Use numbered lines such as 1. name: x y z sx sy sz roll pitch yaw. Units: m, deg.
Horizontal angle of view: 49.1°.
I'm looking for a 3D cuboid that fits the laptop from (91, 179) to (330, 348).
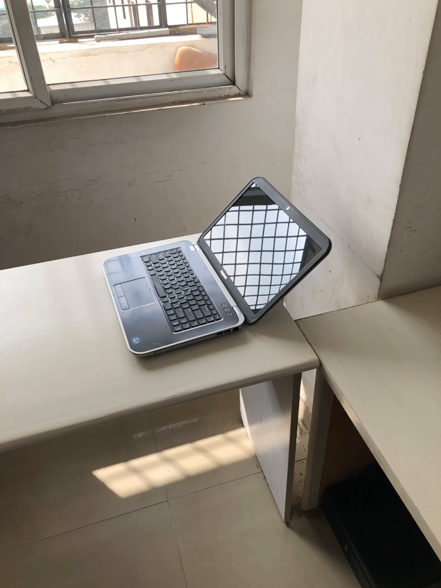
1. laptop: -0.038 -0.091 1.075 0.406 0.145 0.343 -14 39 -15
